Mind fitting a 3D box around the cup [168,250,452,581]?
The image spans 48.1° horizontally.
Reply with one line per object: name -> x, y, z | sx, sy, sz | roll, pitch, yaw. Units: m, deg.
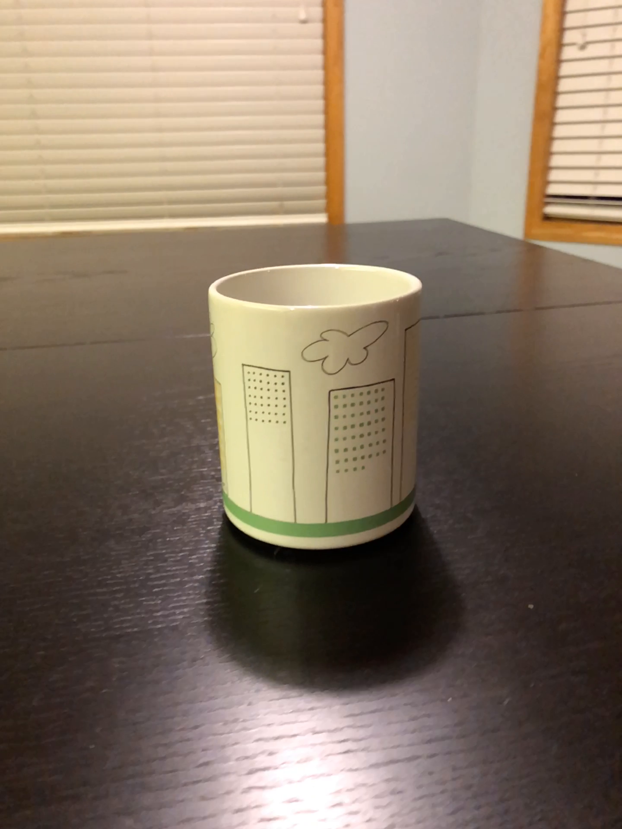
cup -> -0.009, -0.012, 0.313 | 0.090, 0.100, 0.131 | -7, 22, -14
